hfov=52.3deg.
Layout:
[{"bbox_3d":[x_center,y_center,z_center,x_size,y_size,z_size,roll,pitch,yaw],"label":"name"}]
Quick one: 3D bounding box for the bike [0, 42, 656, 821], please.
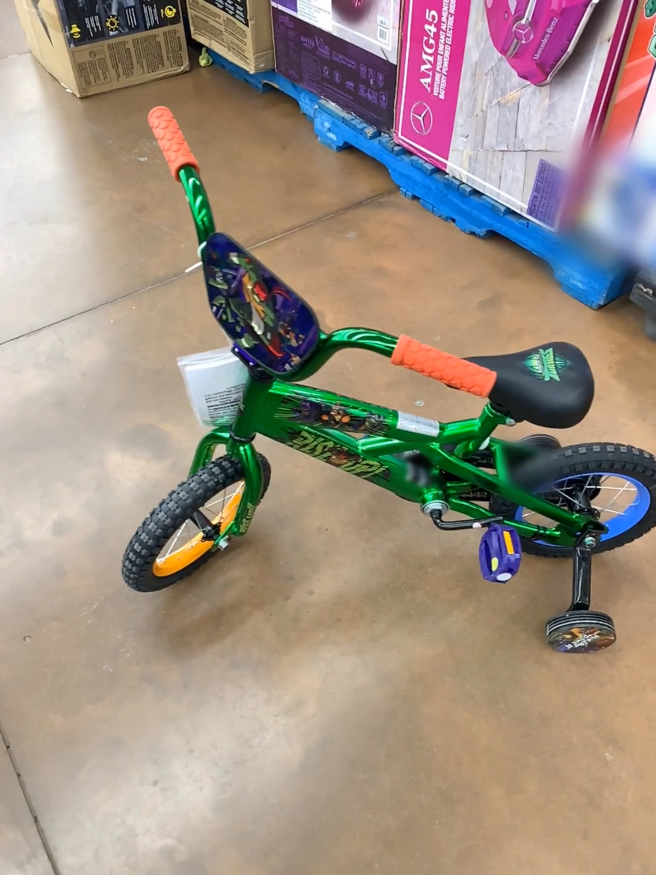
[{"bbox_3d":[0.139,0.019,0.826,0.850,0.732,0.491,-5,49,-9],"label":"bike"}]
